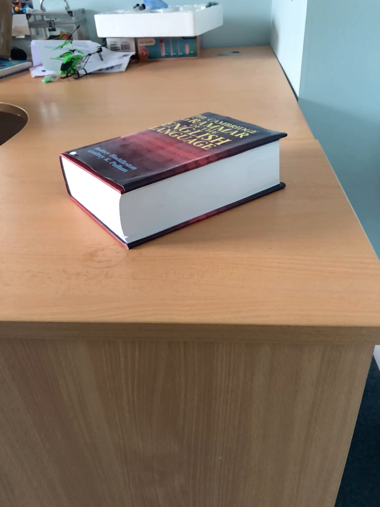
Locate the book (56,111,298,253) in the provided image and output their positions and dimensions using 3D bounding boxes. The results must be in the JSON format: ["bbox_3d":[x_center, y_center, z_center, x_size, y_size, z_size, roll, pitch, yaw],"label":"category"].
[{"bbox_3d":[-0.018,-0.117,0.575,0.261,0.070,0.195,-24,36,-26],"label":"book"}]
